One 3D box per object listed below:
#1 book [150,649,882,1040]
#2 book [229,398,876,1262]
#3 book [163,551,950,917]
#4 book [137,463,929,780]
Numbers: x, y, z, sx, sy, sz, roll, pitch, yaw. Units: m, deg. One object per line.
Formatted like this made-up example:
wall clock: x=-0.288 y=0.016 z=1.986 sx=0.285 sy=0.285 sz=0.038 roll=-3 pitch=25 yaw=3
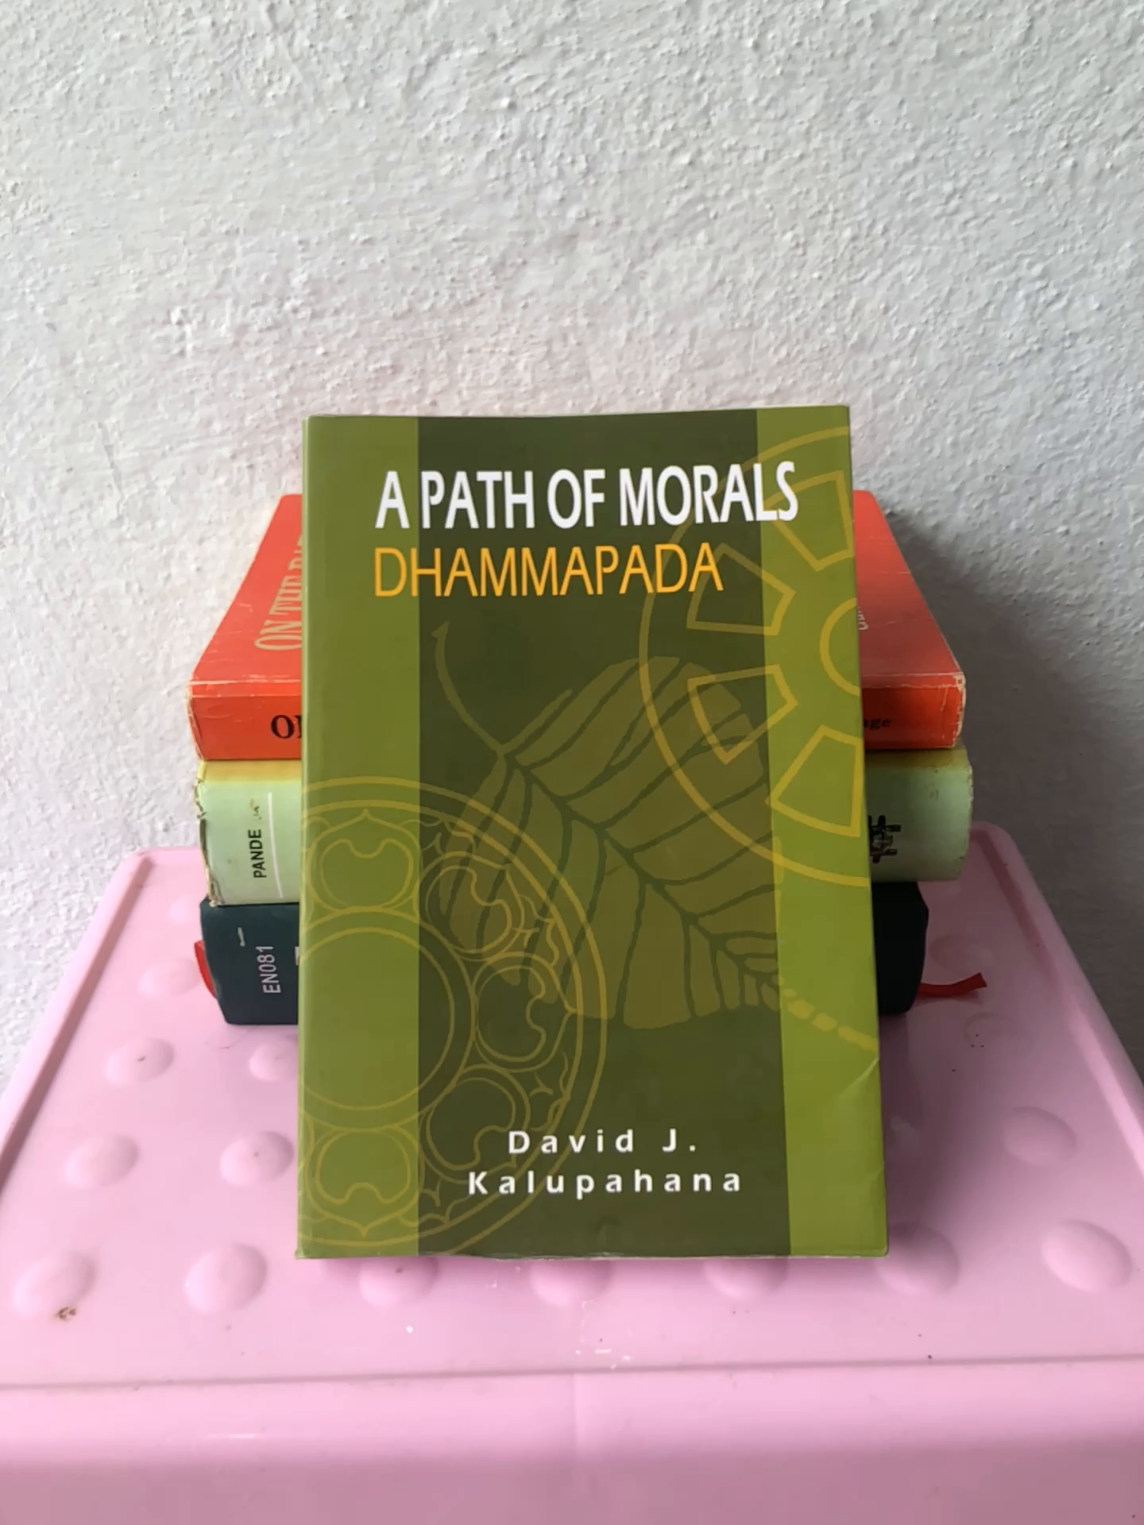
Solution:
book: x=-0.013 y=0.021 z=0.444 sx=0.210 sy=0.050 sz=0.161 roll=-1 pitch=30 yaw=3
book: x=-0.005 y=0.014 z=0.329 sx=0.150 sy=0.210 sz=0.040 roll=0 pitch=-8 yaw=0
book: x=-0.004 y=-0.018 z=0.418 sx=0.210 sy=0.040 sz=0.161 roll=-2 pitch=31 yaw=1
book: x=-0.010 y=-0.053 z=0.413 sx=0.210 sy=0.030 sz=0.161 roll=-2 pitch=31 yaw=2
